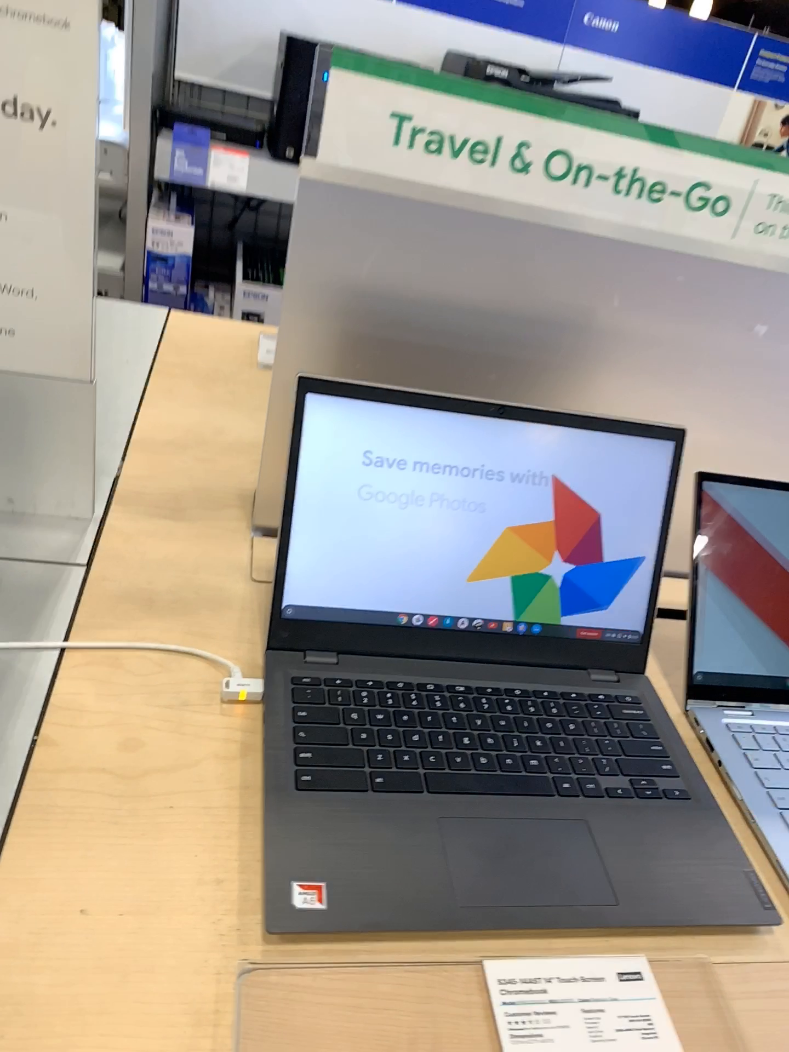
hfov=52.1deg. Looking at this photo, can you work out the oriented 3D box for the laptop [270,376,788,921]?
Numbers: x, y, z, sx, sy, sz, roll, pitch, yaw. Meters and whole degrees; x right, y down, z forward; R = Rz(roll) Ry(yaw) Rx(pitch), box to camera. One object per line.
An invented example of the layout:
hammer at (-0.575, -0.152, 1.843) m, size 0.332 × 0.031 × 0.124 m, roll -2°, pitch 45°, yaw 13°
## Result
laptop at (0.085, 0.069, 0.545) m, size 0.309 × 0.188 × 0.300 m, roll 6°, pitch 32°, yaw -13°
